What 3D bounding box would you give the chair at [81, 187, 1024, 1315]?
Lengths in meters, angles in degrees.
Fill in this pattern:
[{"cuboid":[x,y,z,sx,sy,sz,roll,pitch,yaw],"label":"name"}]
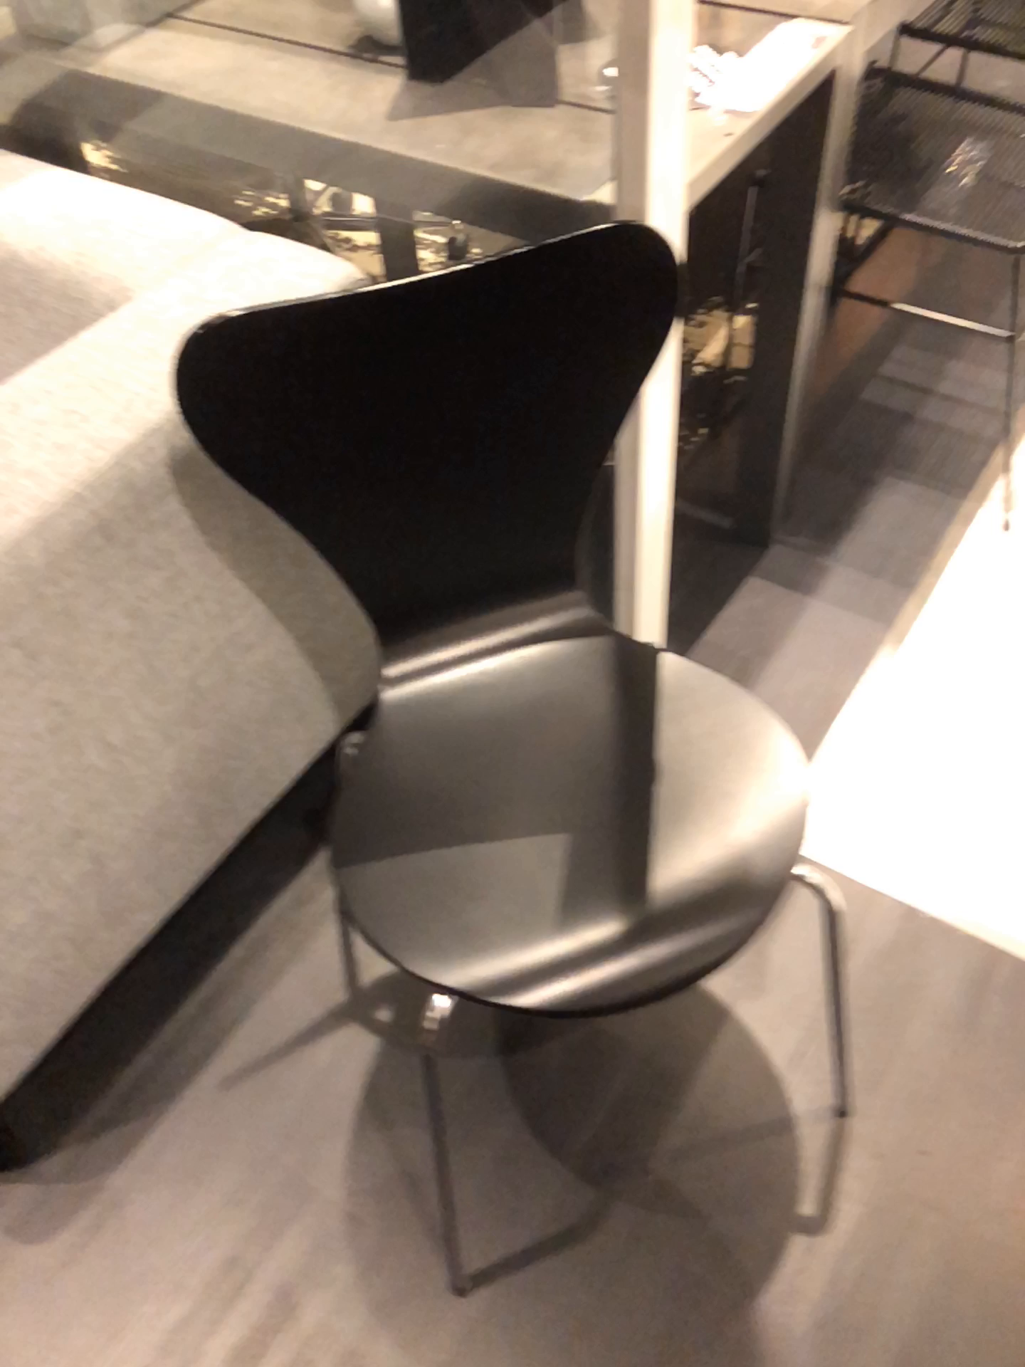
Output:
[{"cuboid":[0.033,0.112,1.010,0.490,0.804,0.503,-19,51,-11],"label":"chair"}]
